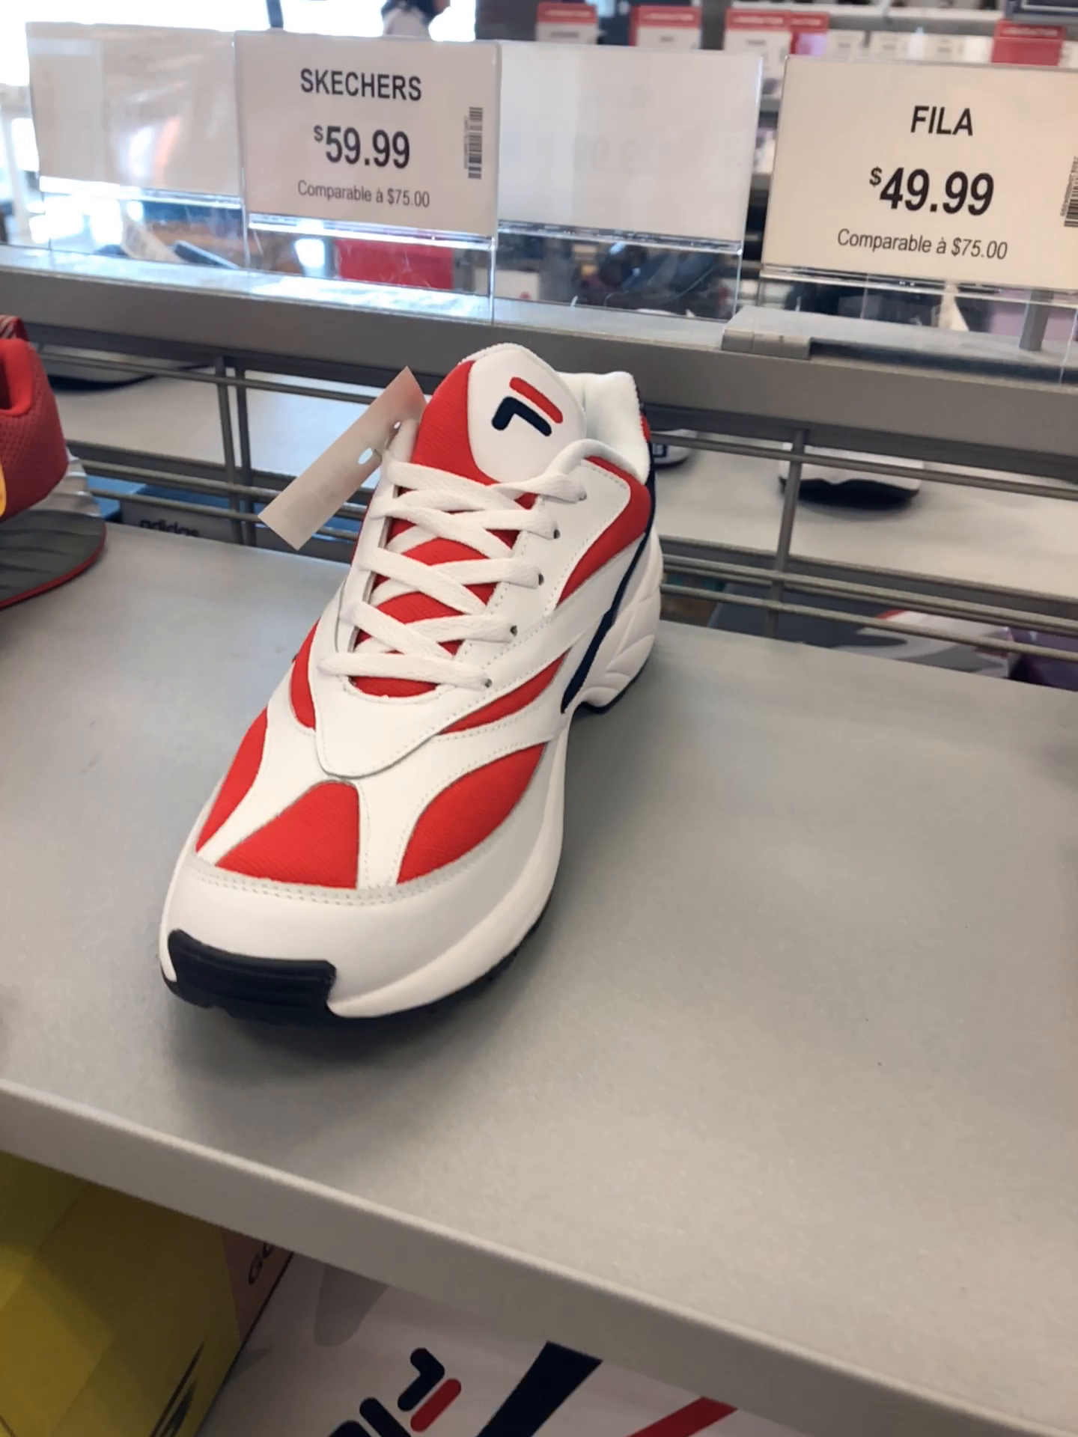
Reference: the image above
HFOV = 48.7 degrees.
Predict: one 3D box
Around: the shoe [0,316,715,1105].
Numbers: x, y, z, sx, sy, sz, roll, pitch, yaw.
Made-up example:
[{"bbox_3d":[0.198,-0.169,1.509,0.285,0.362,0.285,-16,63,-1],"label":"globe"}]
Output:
[{"bbox_3d":[-0.034,-0.034,0.398,0.120,0.129,0.272,11,32,15],"label":"shoe"}]
